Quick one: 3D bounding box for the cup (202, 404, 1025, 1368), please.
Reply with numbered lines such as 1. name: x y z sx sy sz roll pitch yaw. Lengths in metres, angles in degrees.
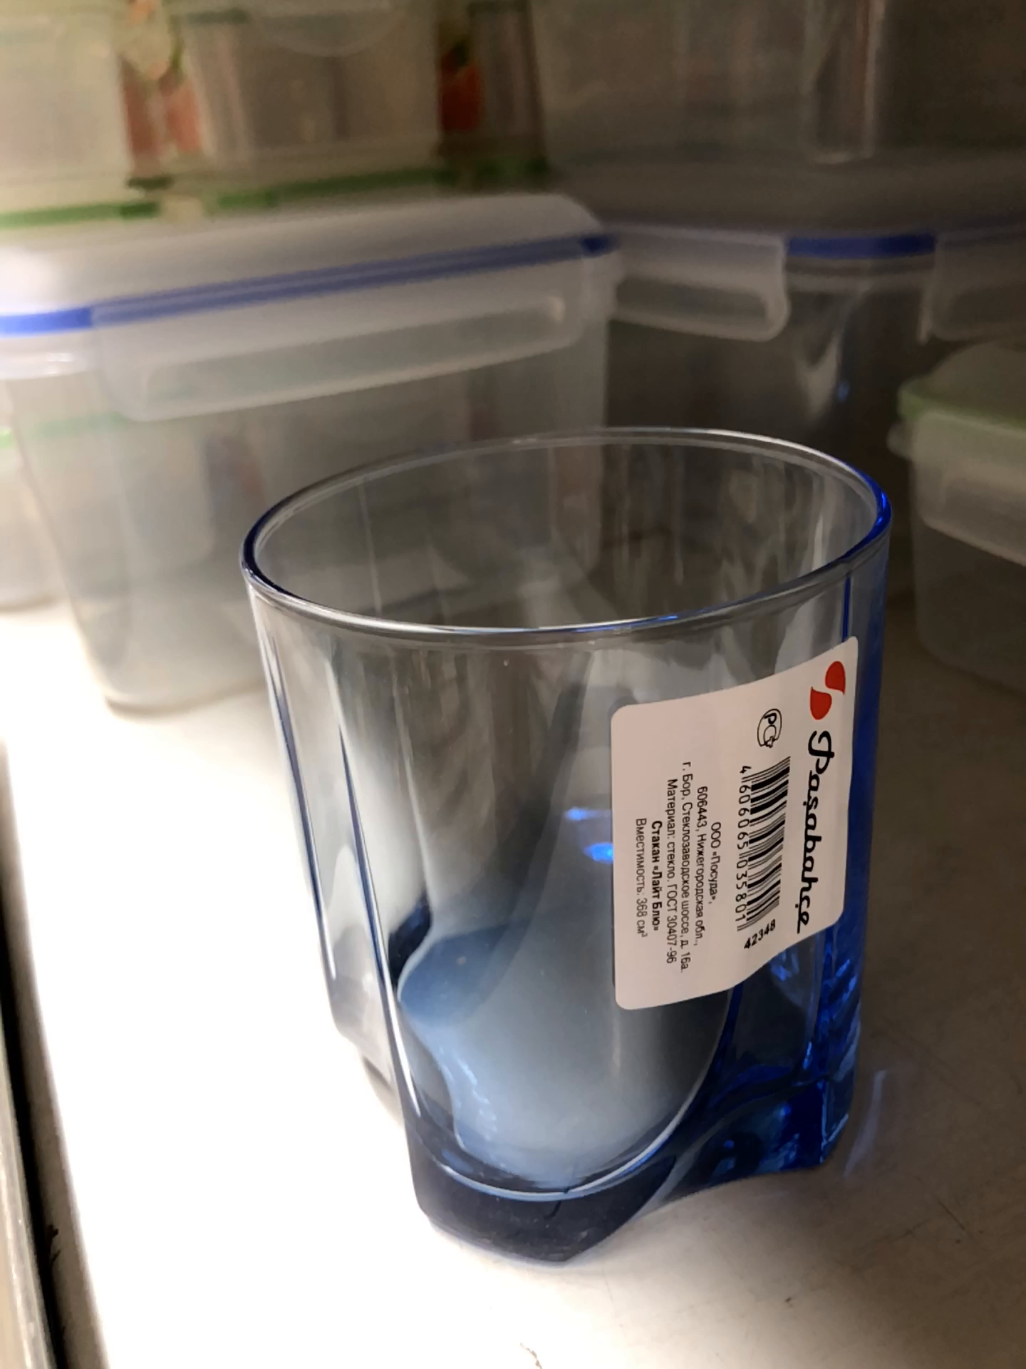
1. cup: 0.009 0.018 0.172 0.083 0.095 0.085 -3 24 2
